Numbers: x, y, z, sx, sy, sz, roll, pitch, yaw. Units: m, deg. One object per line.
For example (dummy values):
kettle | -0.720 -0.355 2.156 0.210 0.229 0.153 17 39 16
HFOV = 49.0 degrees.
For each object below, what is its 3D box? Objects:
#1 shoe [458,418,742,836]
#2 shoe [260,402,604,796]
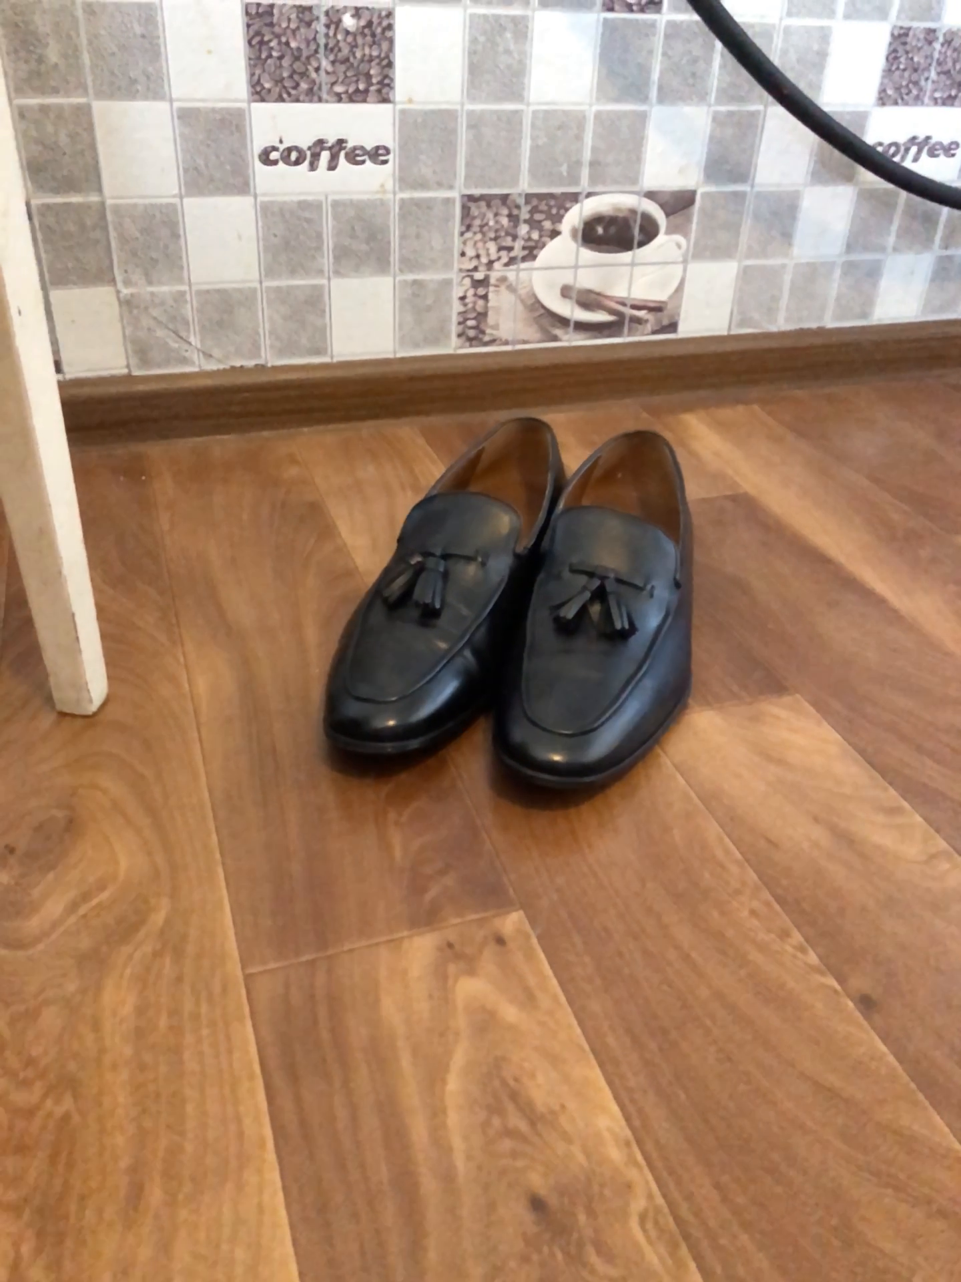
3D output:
shoe | 0.068 -0.026 0.513 0.100 0.068 0.255 8 34 10
shoe | -0.009 -0.039 0.531 0.100 0.068 0.255 9 34 11
